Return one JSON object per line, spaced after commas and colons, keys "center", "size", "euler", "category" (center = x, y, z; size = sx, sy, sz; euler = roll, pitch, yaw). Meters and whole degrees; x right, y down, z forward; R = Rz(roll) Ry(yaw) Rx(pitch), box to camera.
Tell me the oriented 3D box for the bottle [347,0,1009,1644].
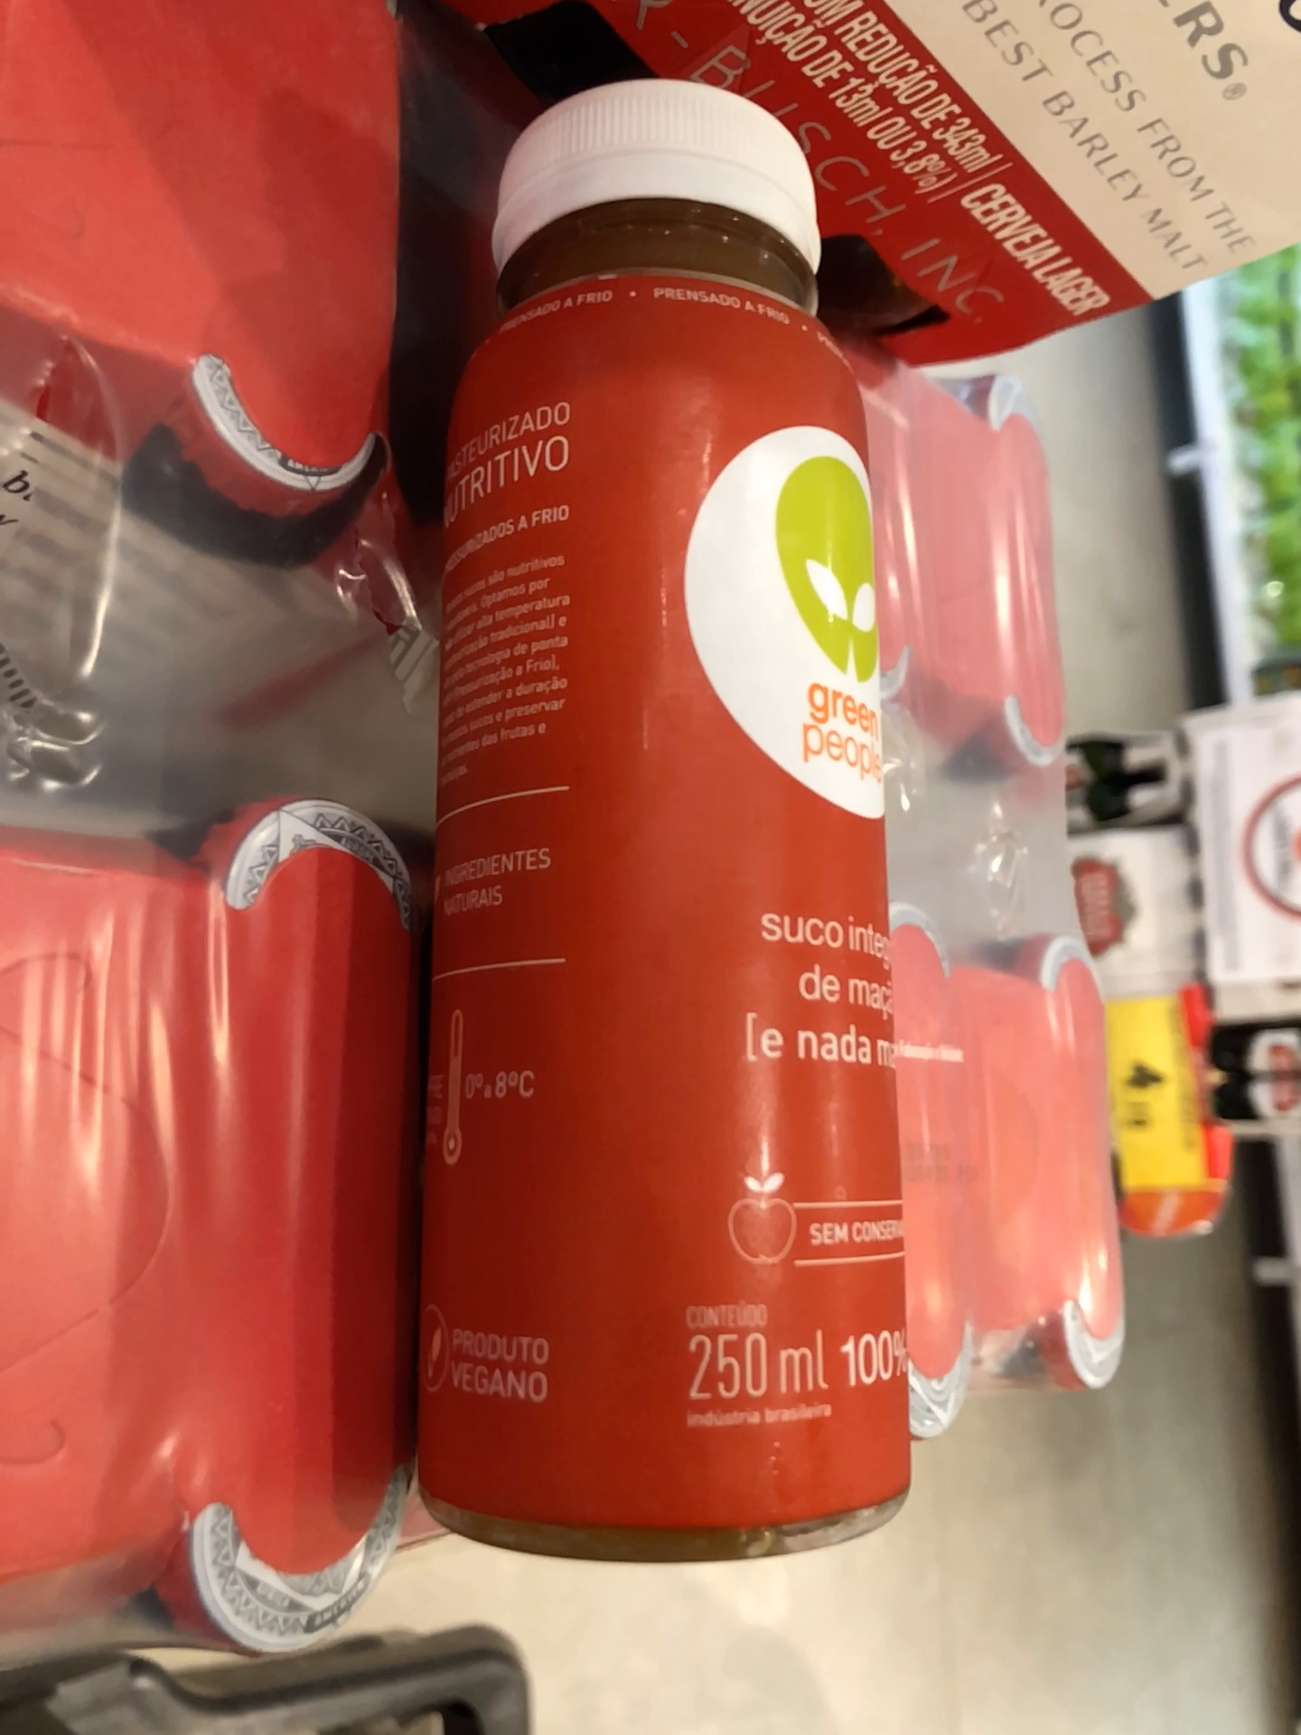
{"center": [0.007, -0.019, 0.171], "size": [0.060, 0.040, 0.180], "euler": [13, 74, -47], "category": "bottle"}
